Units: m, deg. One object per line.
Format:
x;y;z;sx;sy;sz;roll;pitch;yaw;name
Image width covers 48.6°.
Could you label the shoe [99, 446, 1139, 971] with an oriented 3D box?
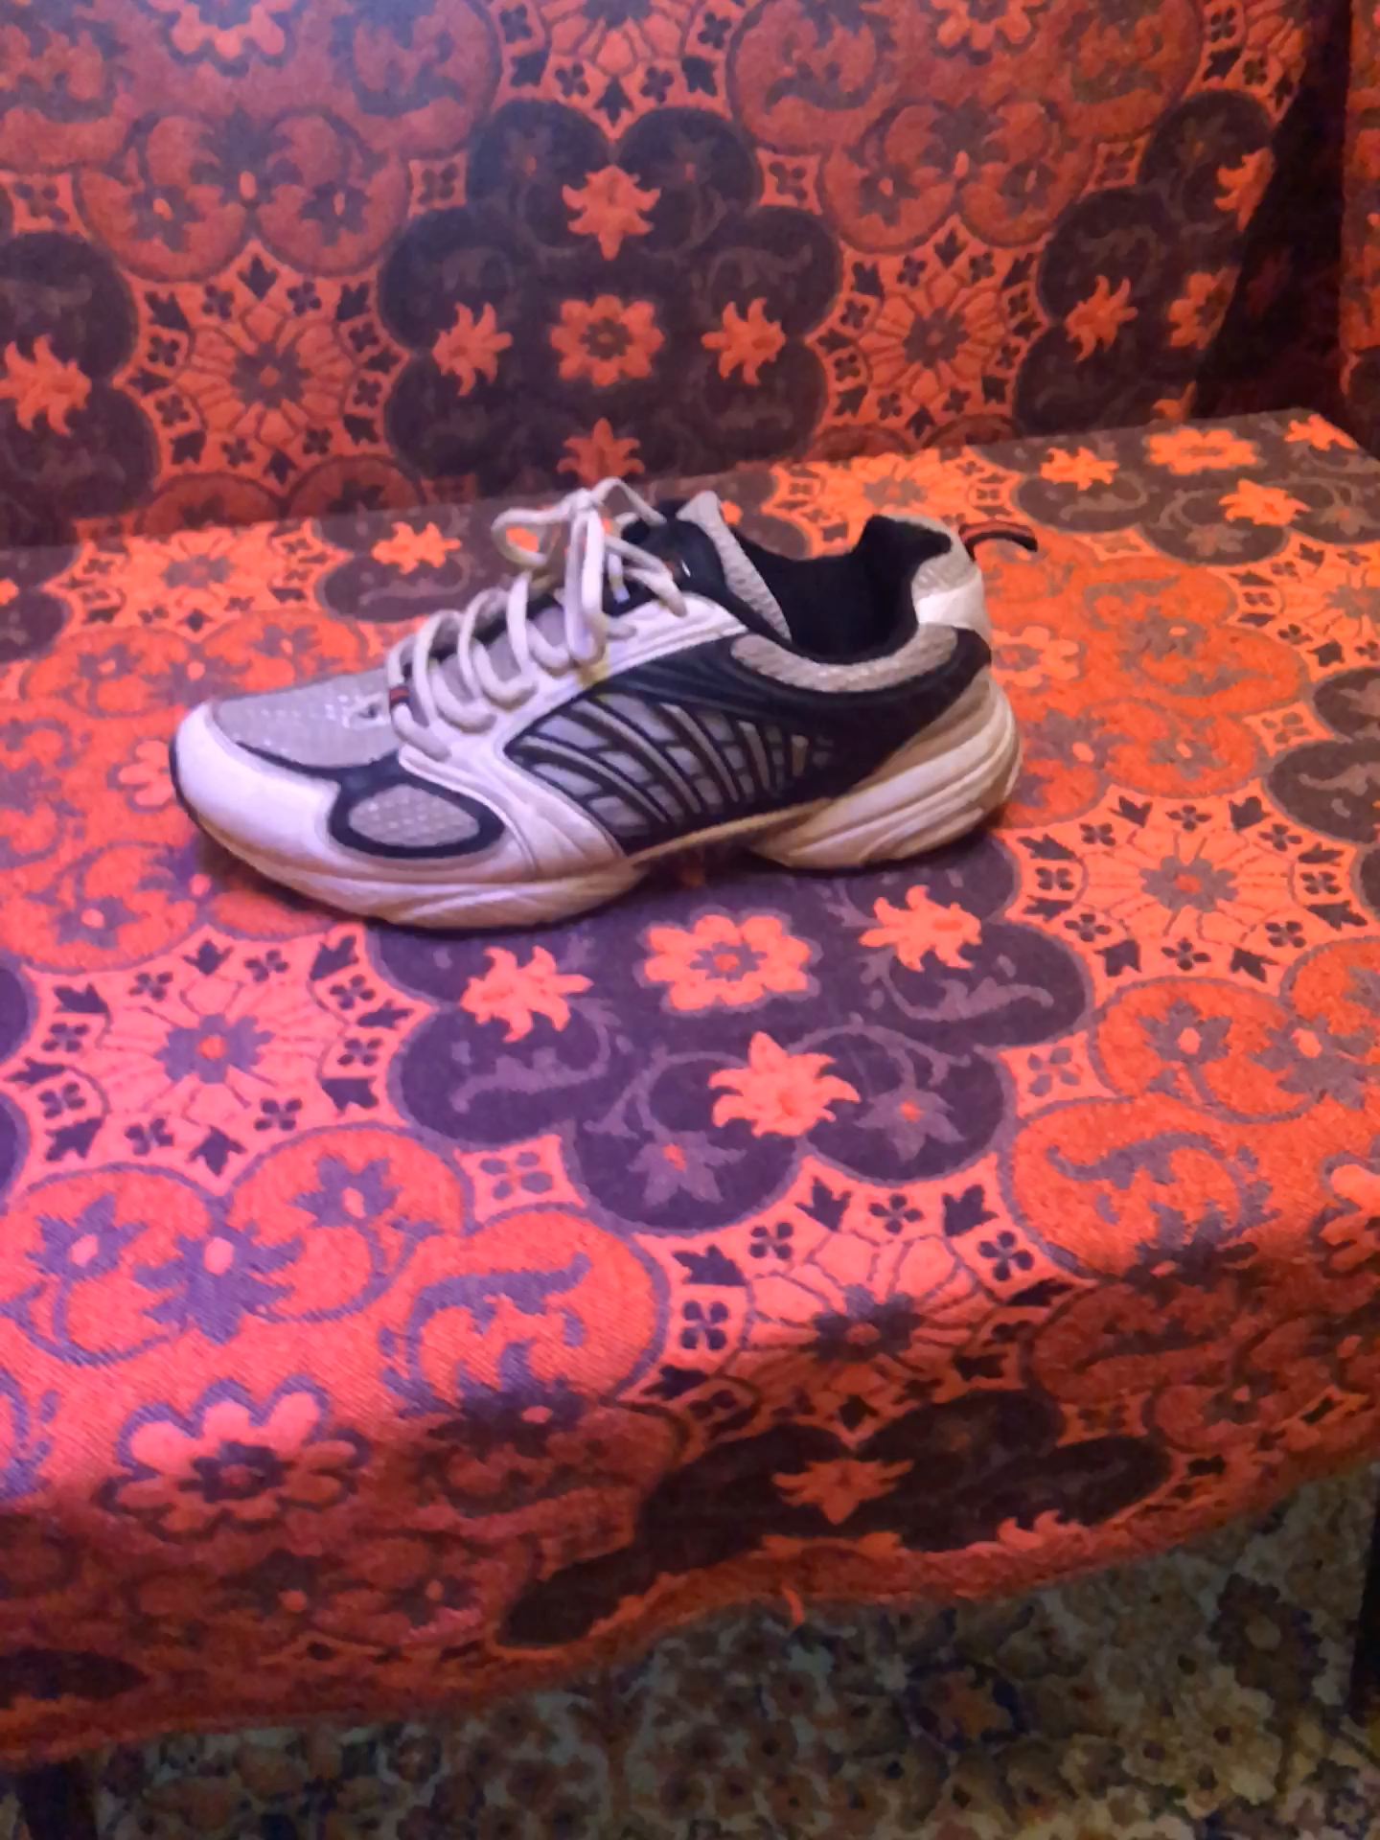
-0.025;-0.080;0.521;0.310;0.090;0.121;-9;41;-10;shoe
